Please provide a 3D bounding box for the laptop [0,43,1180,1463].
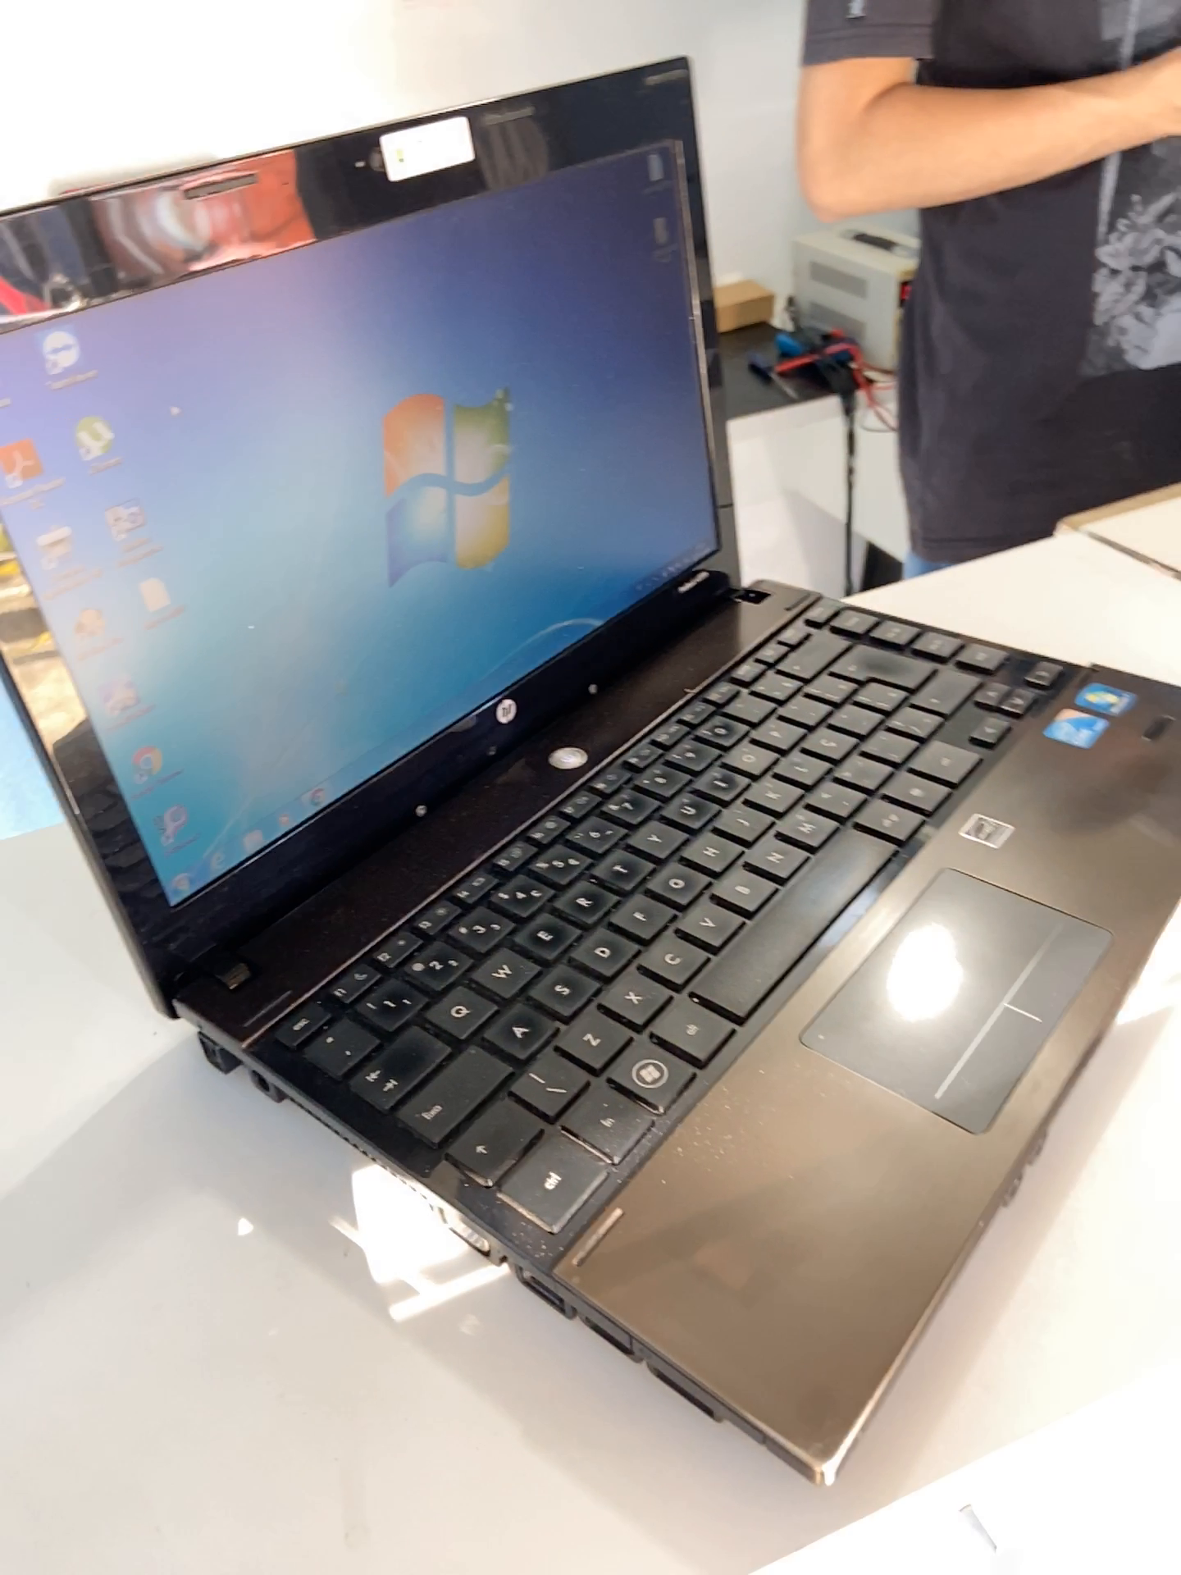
[{"bbox_3d":[0.035,-0.072,0.356,0.259,0.207,0.323,22,45,35],"label":"laptop"}]
